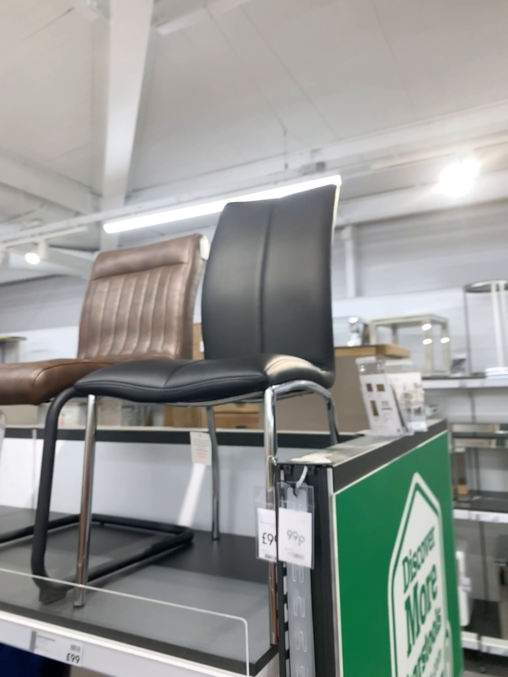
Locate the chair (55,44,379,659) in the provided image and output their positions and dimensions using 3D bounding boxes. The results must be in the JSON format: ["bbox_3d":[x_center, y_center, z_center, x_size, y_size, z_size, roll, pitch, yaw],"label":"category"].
[{"bbox_3d":[-0.044,0.023,1.211,0.474,0.996,0.582,-5,-8,26],"label":"chair"}]

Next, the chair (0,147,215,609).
[{"bbox_3d":[-0.503,0.092,1.398,0.554,0.886,0.582,-5,-8,30],"label":"chair"}]
